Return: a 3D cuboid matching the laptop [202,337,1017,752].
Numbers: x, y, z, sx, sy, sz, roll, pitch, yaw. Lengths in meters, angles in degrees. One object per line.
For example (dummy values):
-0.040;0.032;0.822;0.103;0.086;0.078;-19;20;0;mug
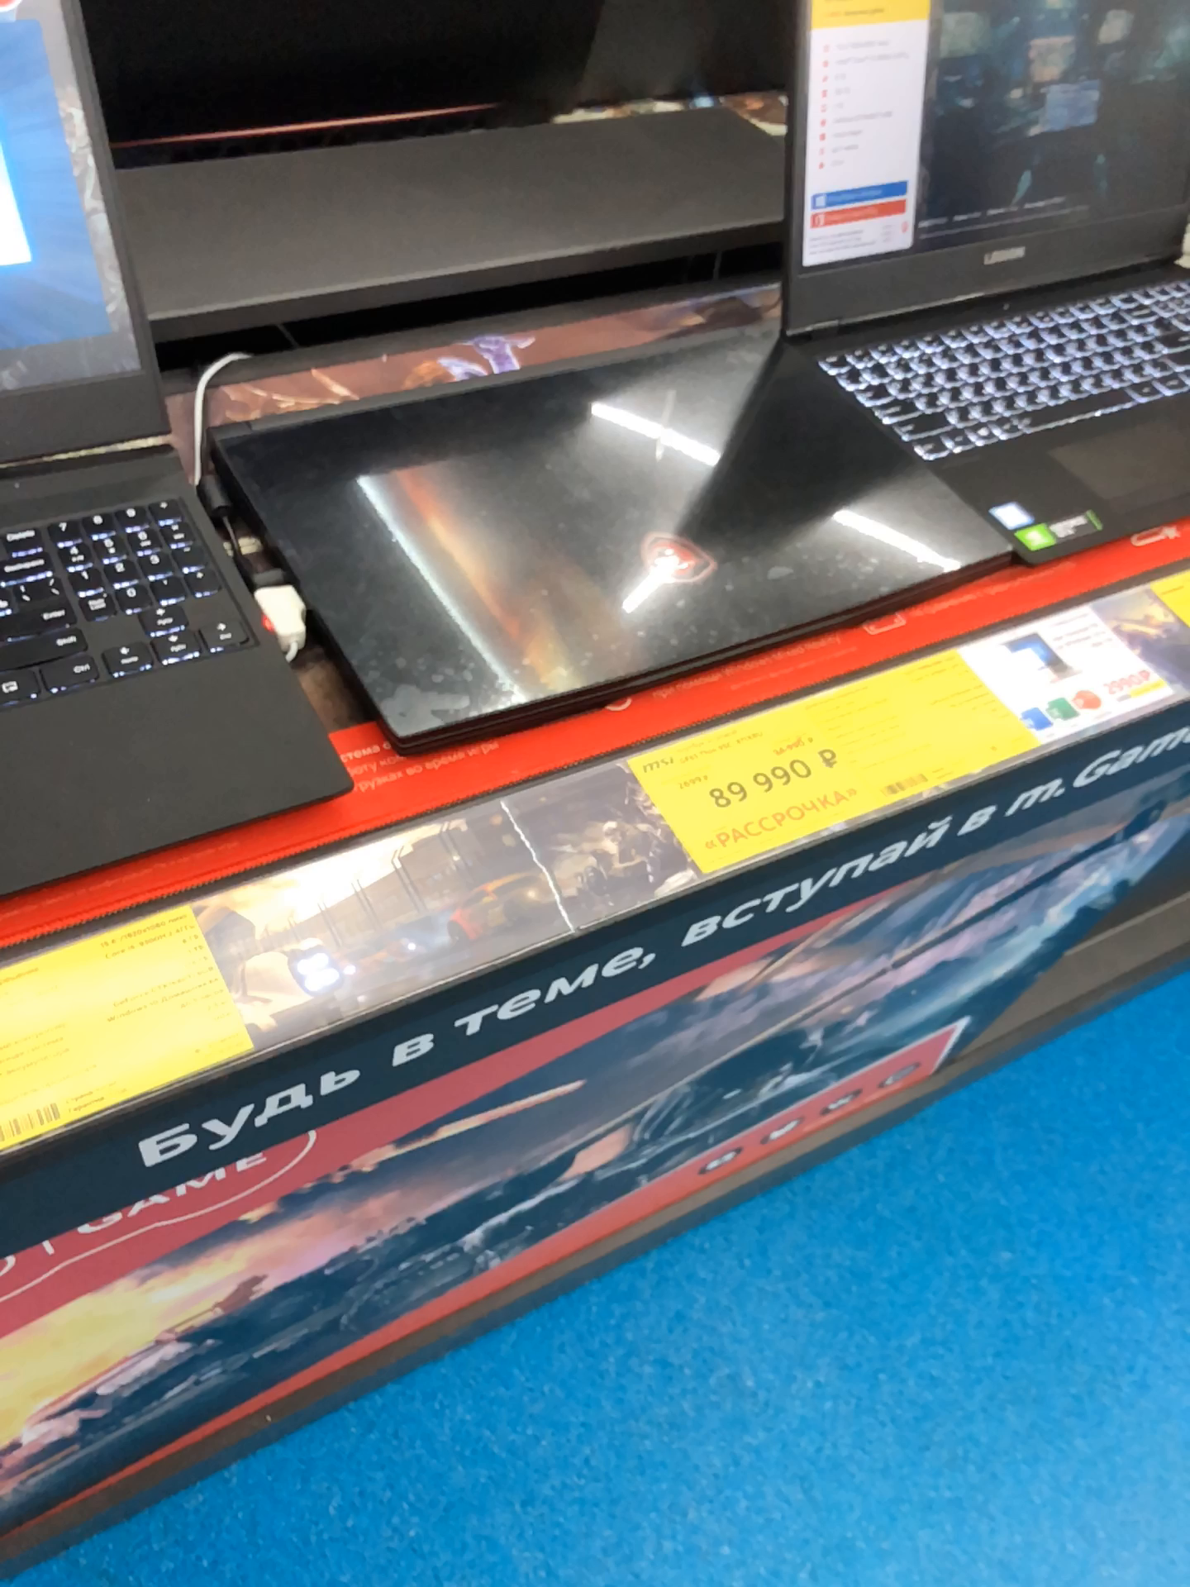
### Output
0.009;-0.151;0.688;0.353;0.002;0.239;-19;53;-23;laptop
